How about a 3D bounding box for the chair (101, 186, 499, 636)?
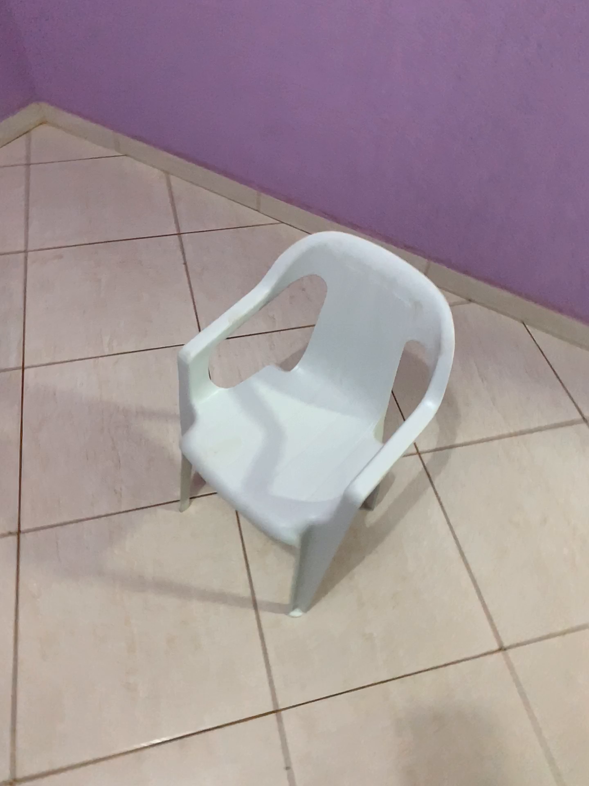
[{"bbox_3d":[-0.003,0.059,1.055,0.401,0.595,0.362,36,59,21],"label":"chair"}]
